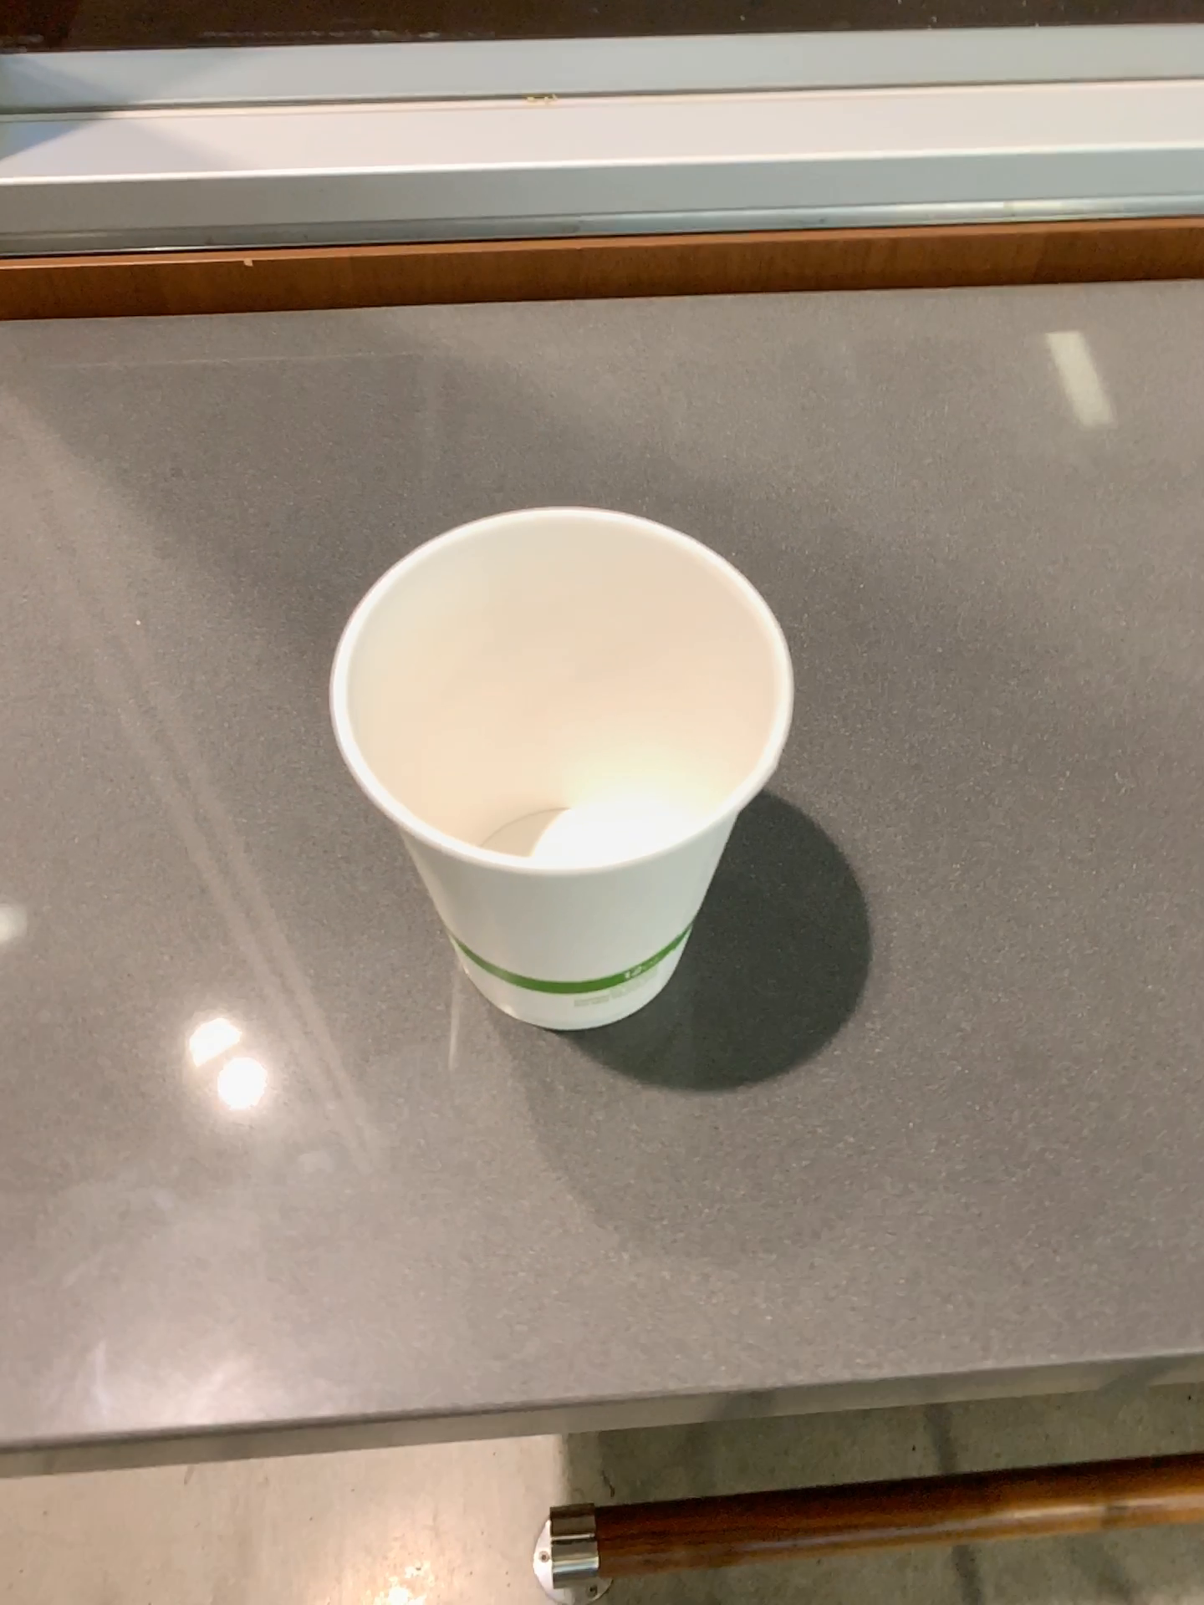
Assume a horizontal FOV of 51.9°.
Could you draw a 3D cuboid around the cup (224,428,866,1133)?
[{"bbox_3d":[-0.007,-0.002,0.266,0.090,0.100,0.090,0,56,0],"label":"cup"}]
